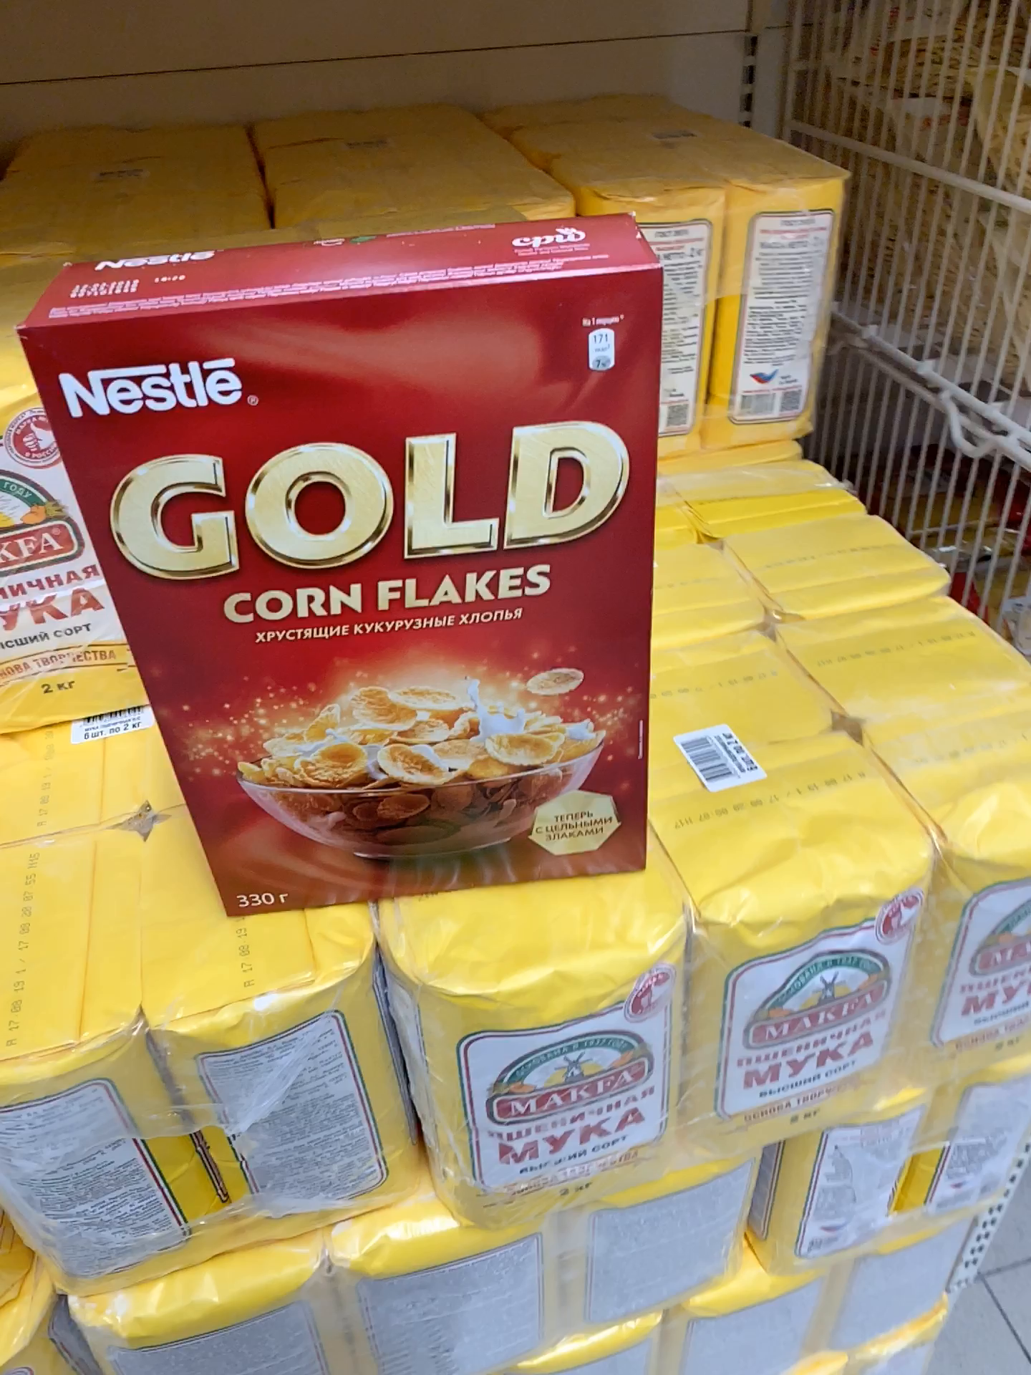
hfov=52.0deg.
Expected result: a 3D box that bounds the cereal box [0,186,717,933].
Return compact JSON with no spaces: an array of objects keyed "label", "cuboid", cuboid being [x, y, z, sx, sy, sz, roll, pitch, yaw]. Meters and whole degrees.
[{"label":"cereal box","cuboid":[-0.045,-0.031,0.424,0.210,0.287,0.071,-5,39,-4]}]
